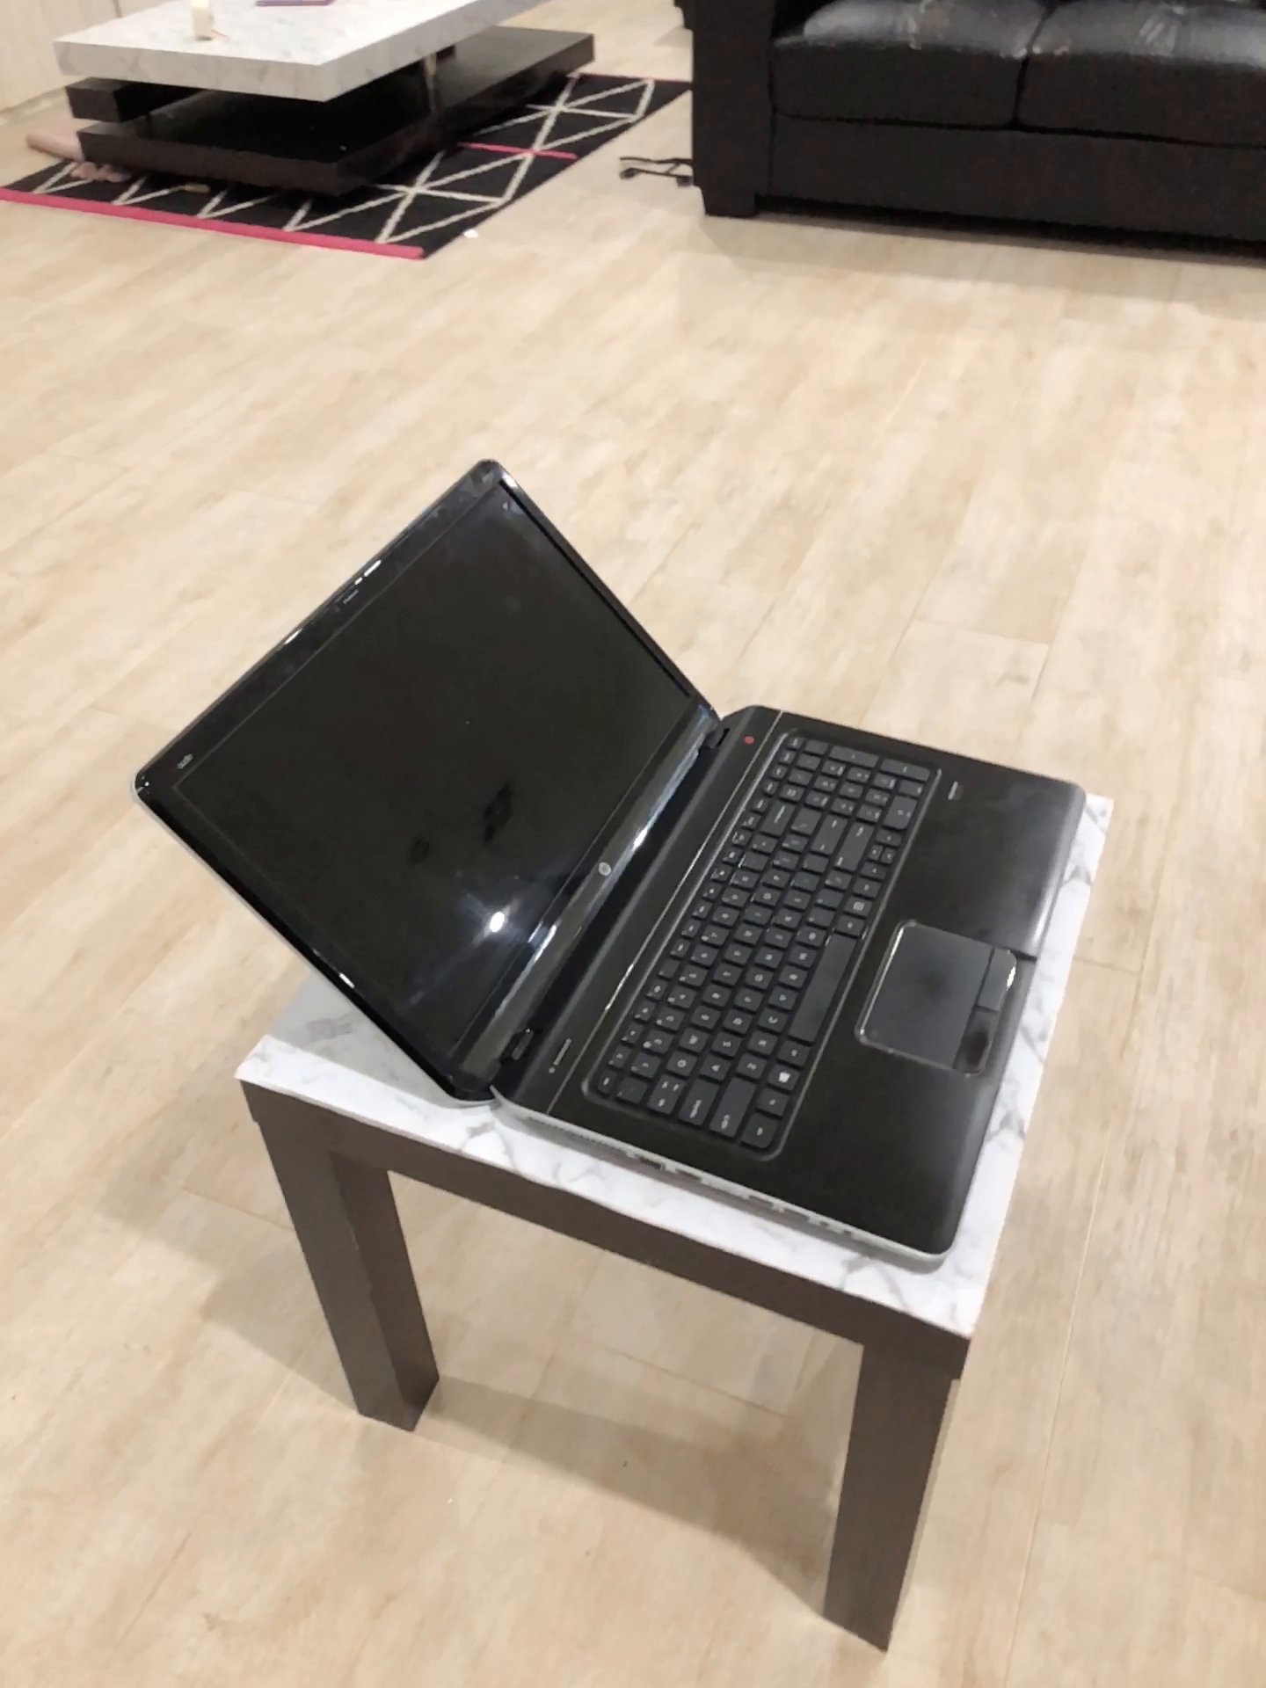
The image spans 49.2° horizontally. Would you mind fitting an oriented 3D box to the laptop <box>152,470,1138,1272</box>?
[{"bbox_3d":[0.033,-0.026,0.828,0.438,0.169,0.388,15,44,18],"label":"laptop"}]
